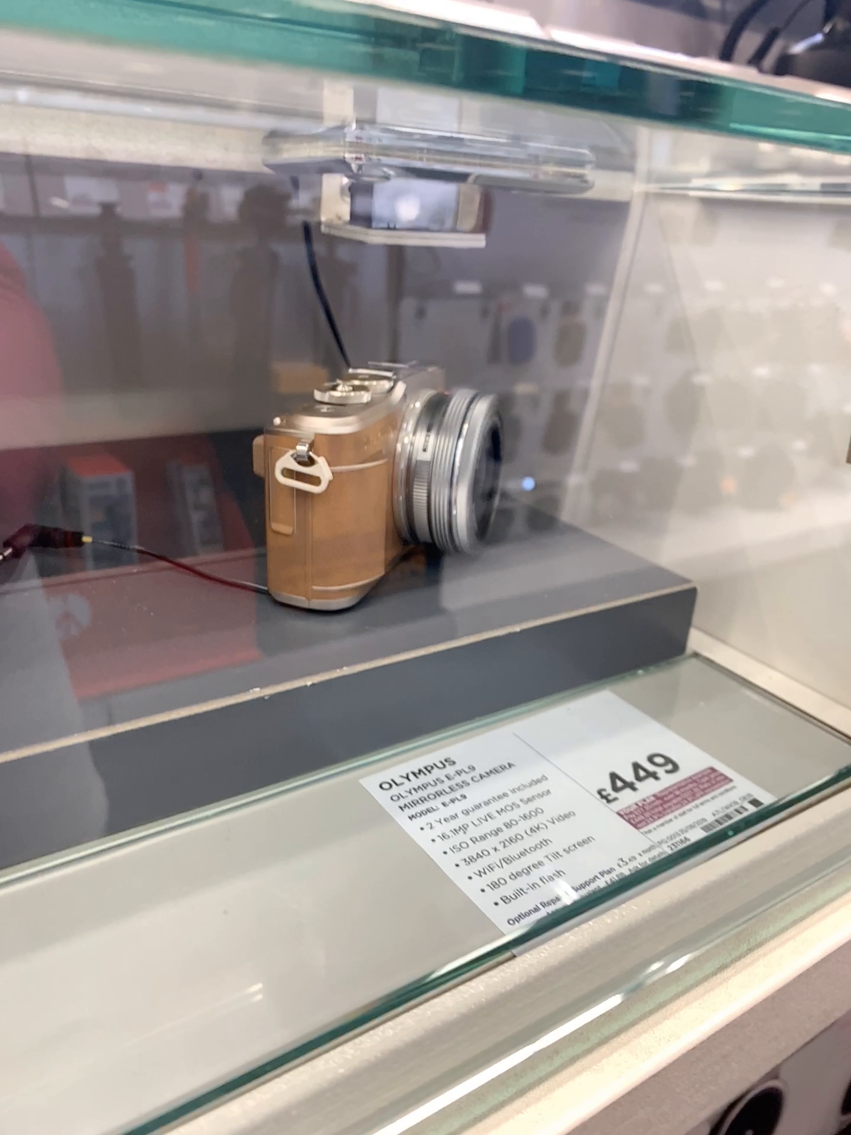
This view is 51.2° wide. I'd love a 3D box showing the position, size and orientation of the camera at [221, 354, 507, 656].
[{"bbox_3d":[-0.016,-0.031,0.320,0.060,0.069,0.121,10,22,15],"label":"camera"}]
